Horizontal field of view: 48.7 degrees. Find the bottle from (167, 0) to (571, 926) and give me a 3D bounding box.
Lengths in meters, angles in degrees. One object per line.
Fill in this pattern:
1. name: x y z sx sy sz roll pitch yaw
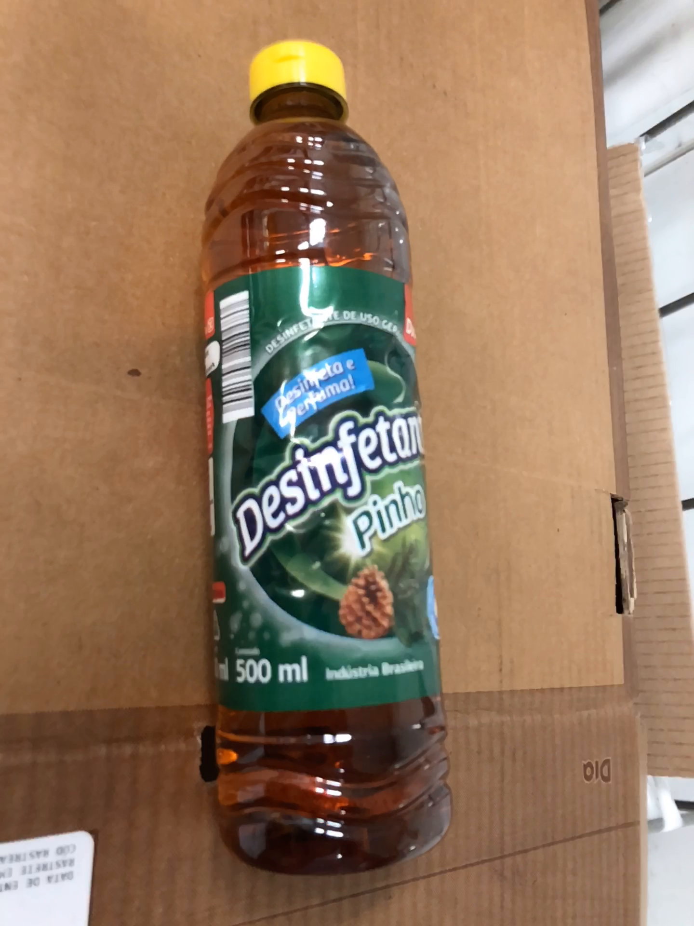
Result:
1. bottle: -0.005 -0.010 0.203 0.060 0.070 0.220 0 77 -26
